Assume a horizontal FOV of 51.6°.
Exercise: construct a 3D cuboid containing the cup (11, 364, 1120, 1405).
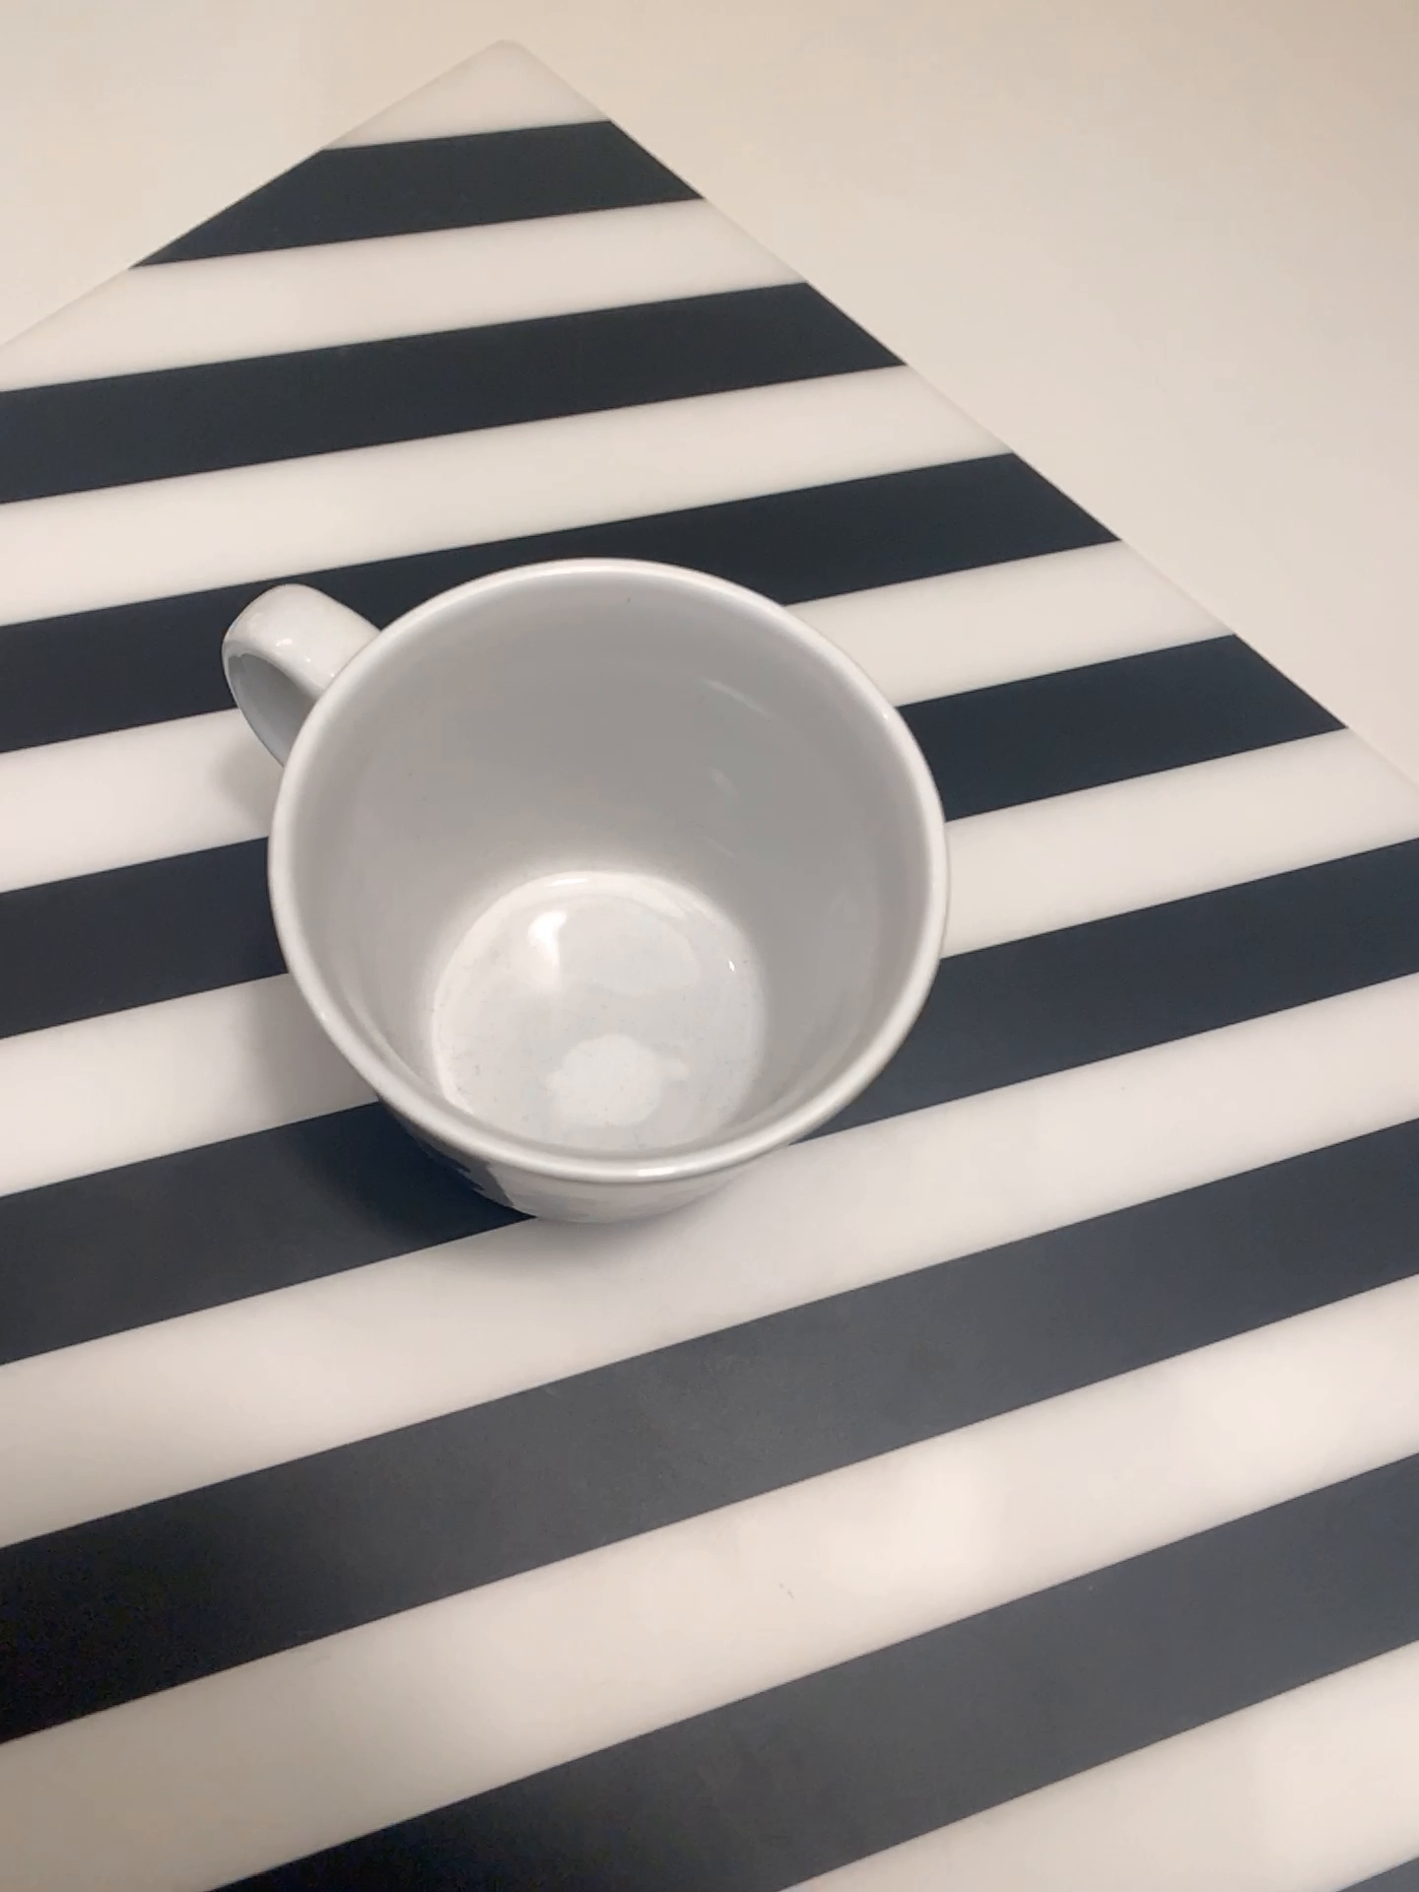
[{"bbox_3d":[-0.020,-0.006,0.221,0.110,0.070,0.090,40,69,7],"label":"cup"}]
